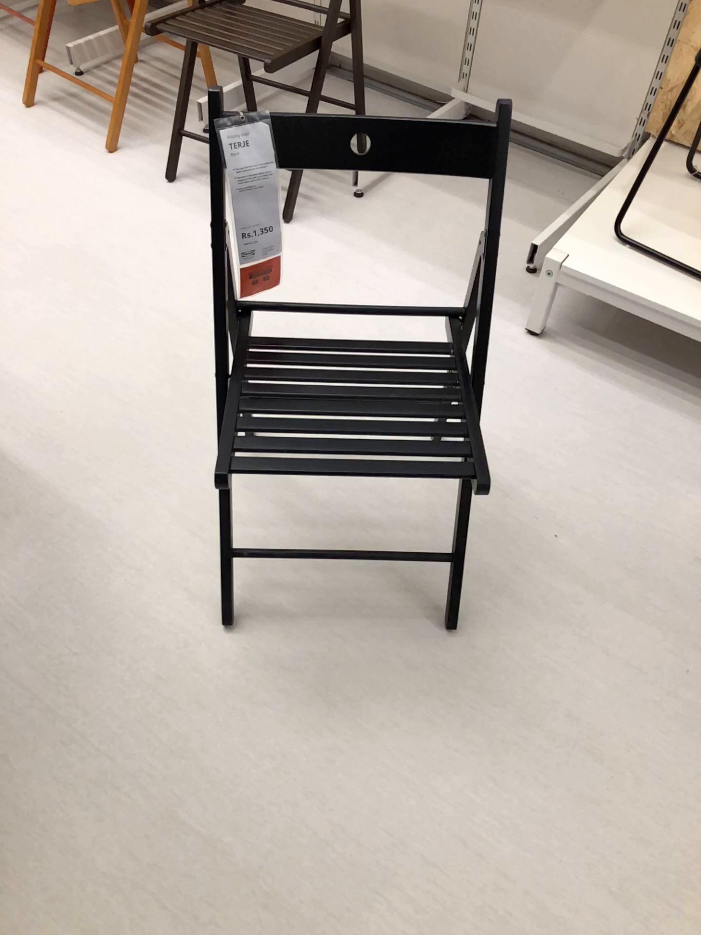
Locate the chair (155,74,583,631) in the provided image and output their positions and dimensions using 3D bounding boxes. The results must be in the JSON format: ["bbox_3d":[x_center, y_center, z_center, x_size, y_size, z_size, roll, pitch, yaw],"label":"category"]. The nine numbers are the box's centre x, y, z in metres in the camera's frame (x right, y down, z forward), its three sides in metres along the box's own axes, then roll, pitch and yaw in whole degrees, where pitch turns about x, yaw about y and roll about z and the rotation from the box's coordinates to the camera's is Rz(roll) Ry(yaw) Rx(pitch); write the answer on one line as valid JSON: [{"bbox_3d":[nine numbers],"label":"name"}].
[{"bbox_3d":[0.004,-0.133,1.223,0.440,0.726,0.483,2,51,-2],"label":"chair"}]
